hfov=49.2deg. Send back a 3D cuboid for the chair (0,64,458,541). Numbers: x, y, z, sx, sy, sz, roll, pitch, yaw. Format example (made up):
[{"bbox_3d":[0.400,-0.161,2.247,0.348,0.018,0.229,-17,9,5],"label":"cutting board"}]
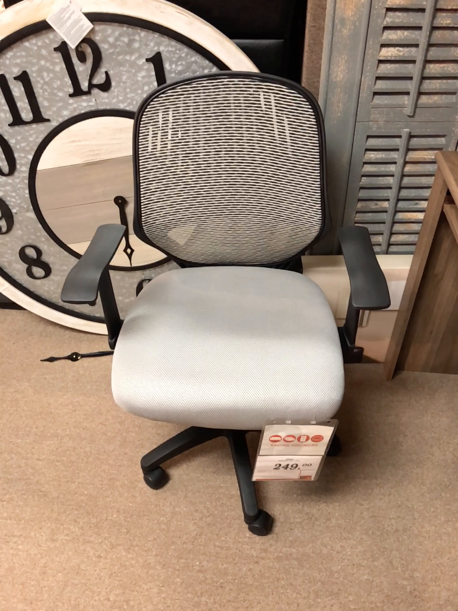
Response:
[{"bbox_3d":[0.012,0.004,1.155,0.610,0.864,0.675,0,40,1],"label":"chair"}]
